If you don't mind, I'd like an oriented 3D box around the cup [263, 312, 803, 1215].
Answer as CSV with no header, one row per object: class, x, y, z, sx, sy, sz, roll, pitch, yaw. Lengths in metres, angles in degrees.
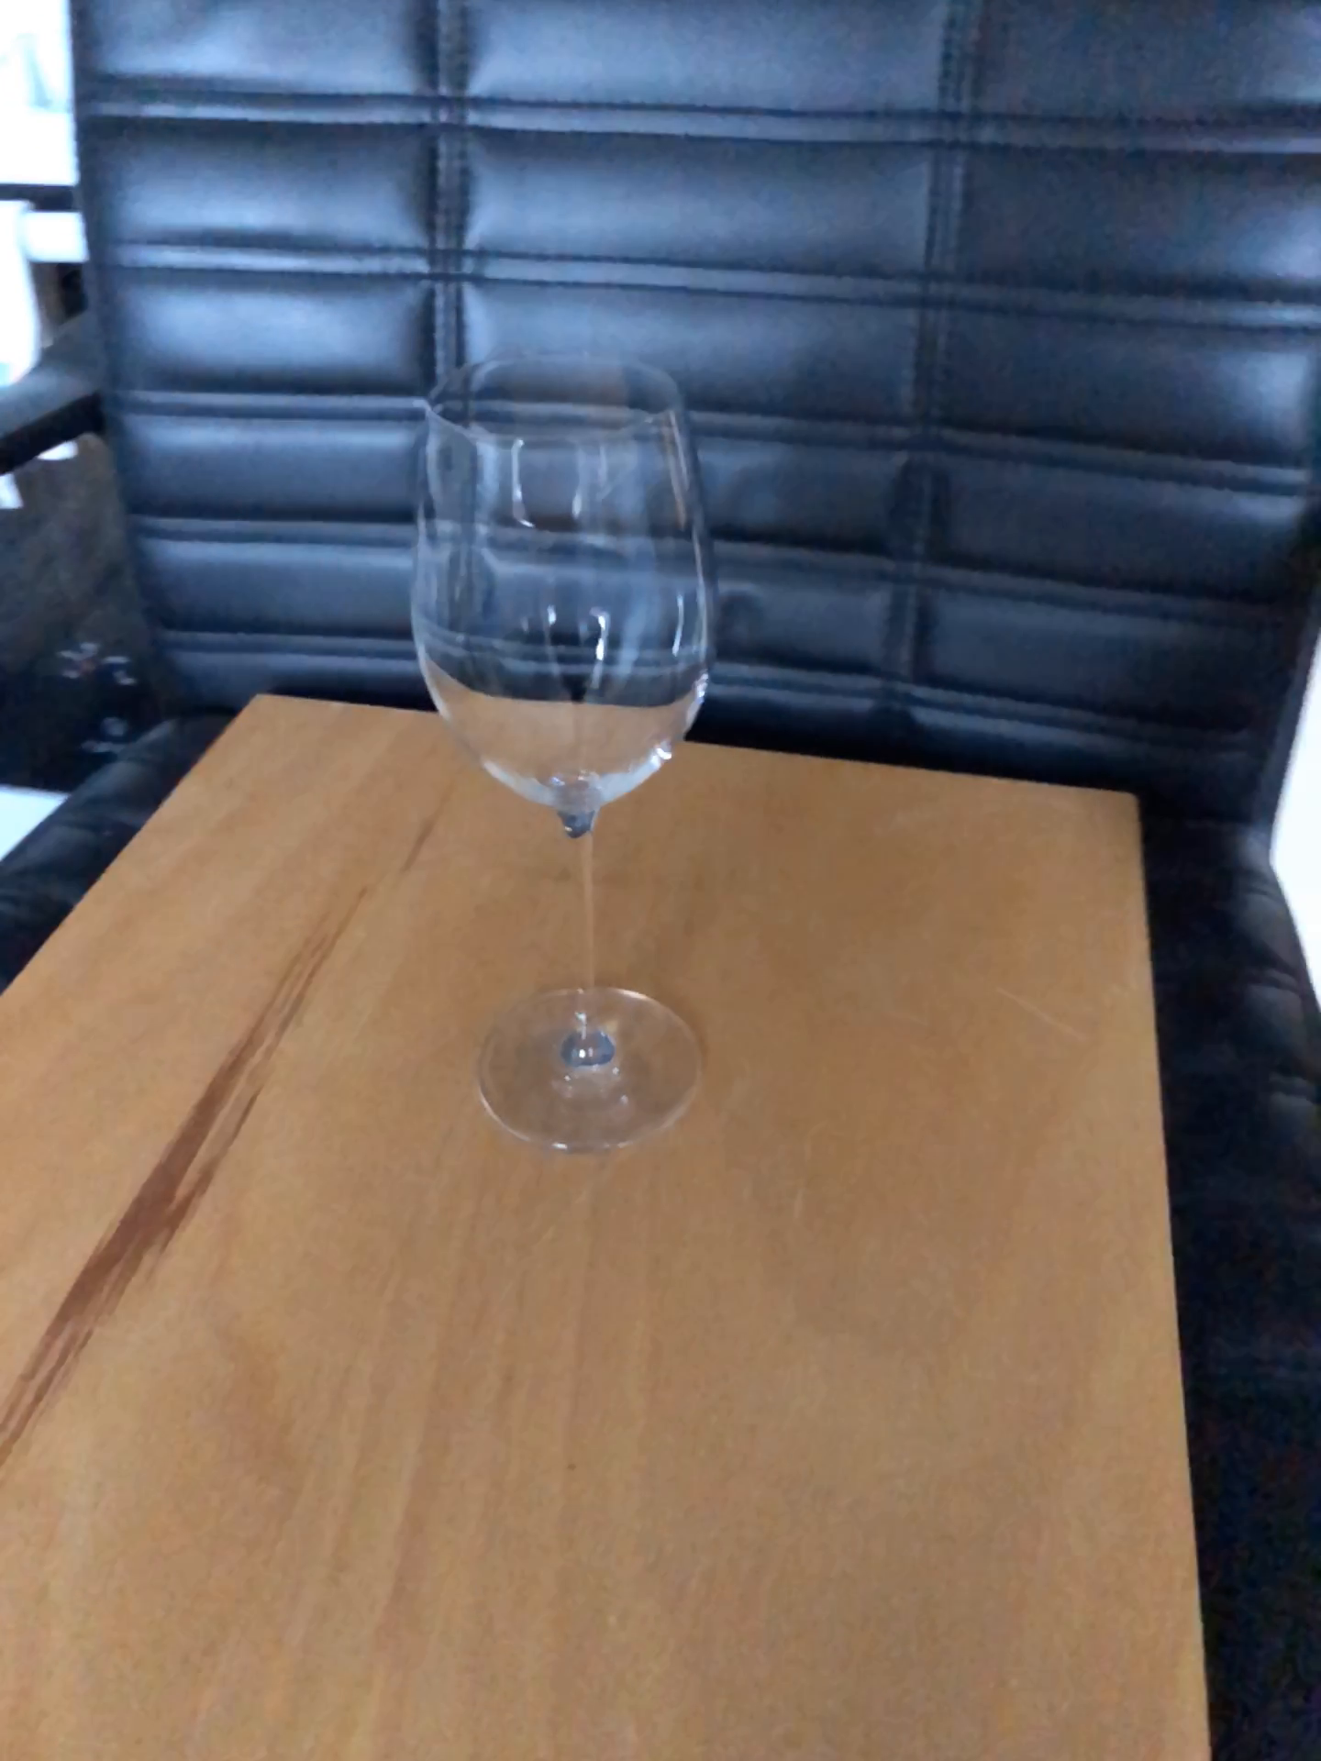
cup,-0.028,-0.028,0.407,0.090,0.218,0.090,-1,38,1
